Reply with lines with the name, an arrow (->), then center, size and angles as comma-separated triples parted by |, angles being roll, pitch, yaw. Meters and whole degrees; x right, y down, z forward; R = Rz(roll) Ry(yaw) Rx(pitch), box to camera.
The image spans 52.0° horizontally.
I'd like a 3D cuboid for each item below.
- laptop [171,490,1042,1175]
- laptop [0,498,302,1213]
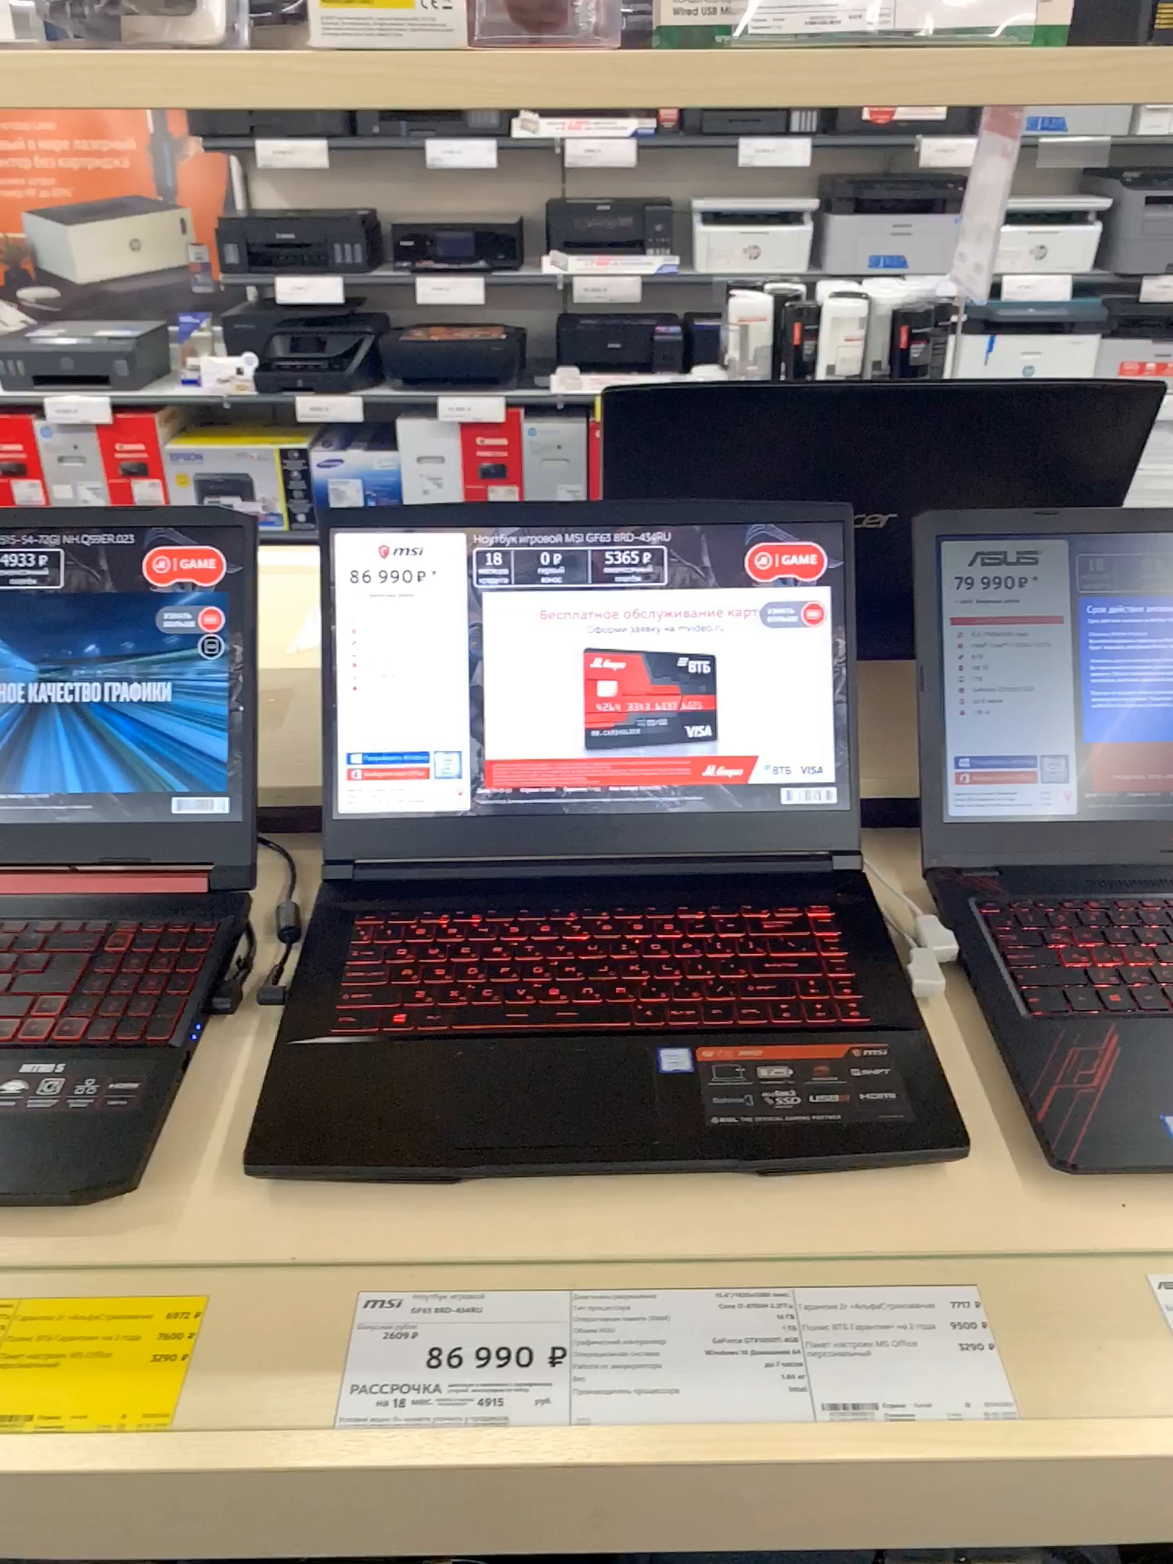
laptop -> 0.006, -0.004, 0.689 | 0.350, 0.204, 0.372 | -1, 31, -2
laptop -> -0.380, 0.007, 0.664 | 0.334, 0.211, 0.373 | 0, 30, 0
